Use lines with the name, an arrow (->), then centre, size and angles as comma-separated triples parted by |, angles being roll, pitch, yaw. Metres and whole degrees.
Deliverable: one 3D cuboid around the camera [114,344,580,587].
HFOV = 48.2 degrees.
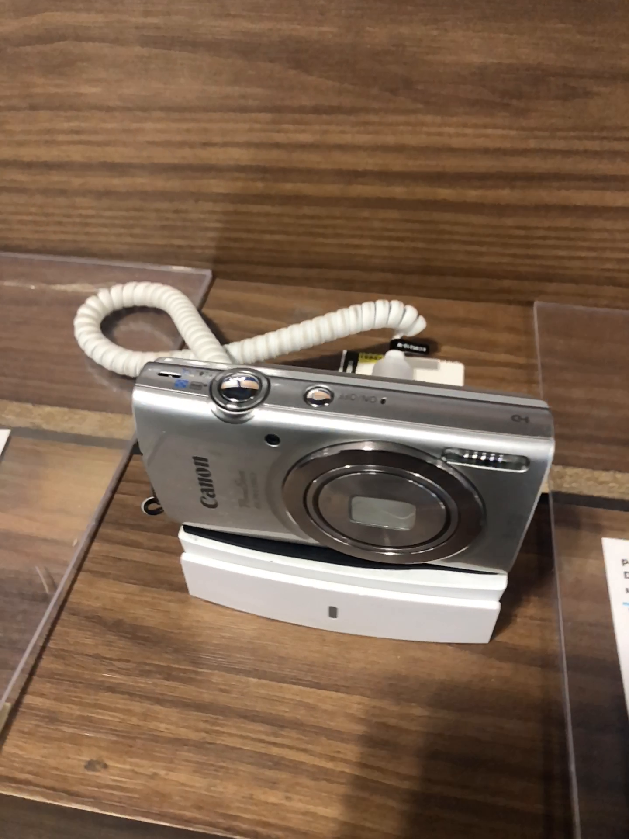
camera -> 0.007, 0.012, 0.174 | 0.100, 0.050, 0.020 | 7, 48, 8
